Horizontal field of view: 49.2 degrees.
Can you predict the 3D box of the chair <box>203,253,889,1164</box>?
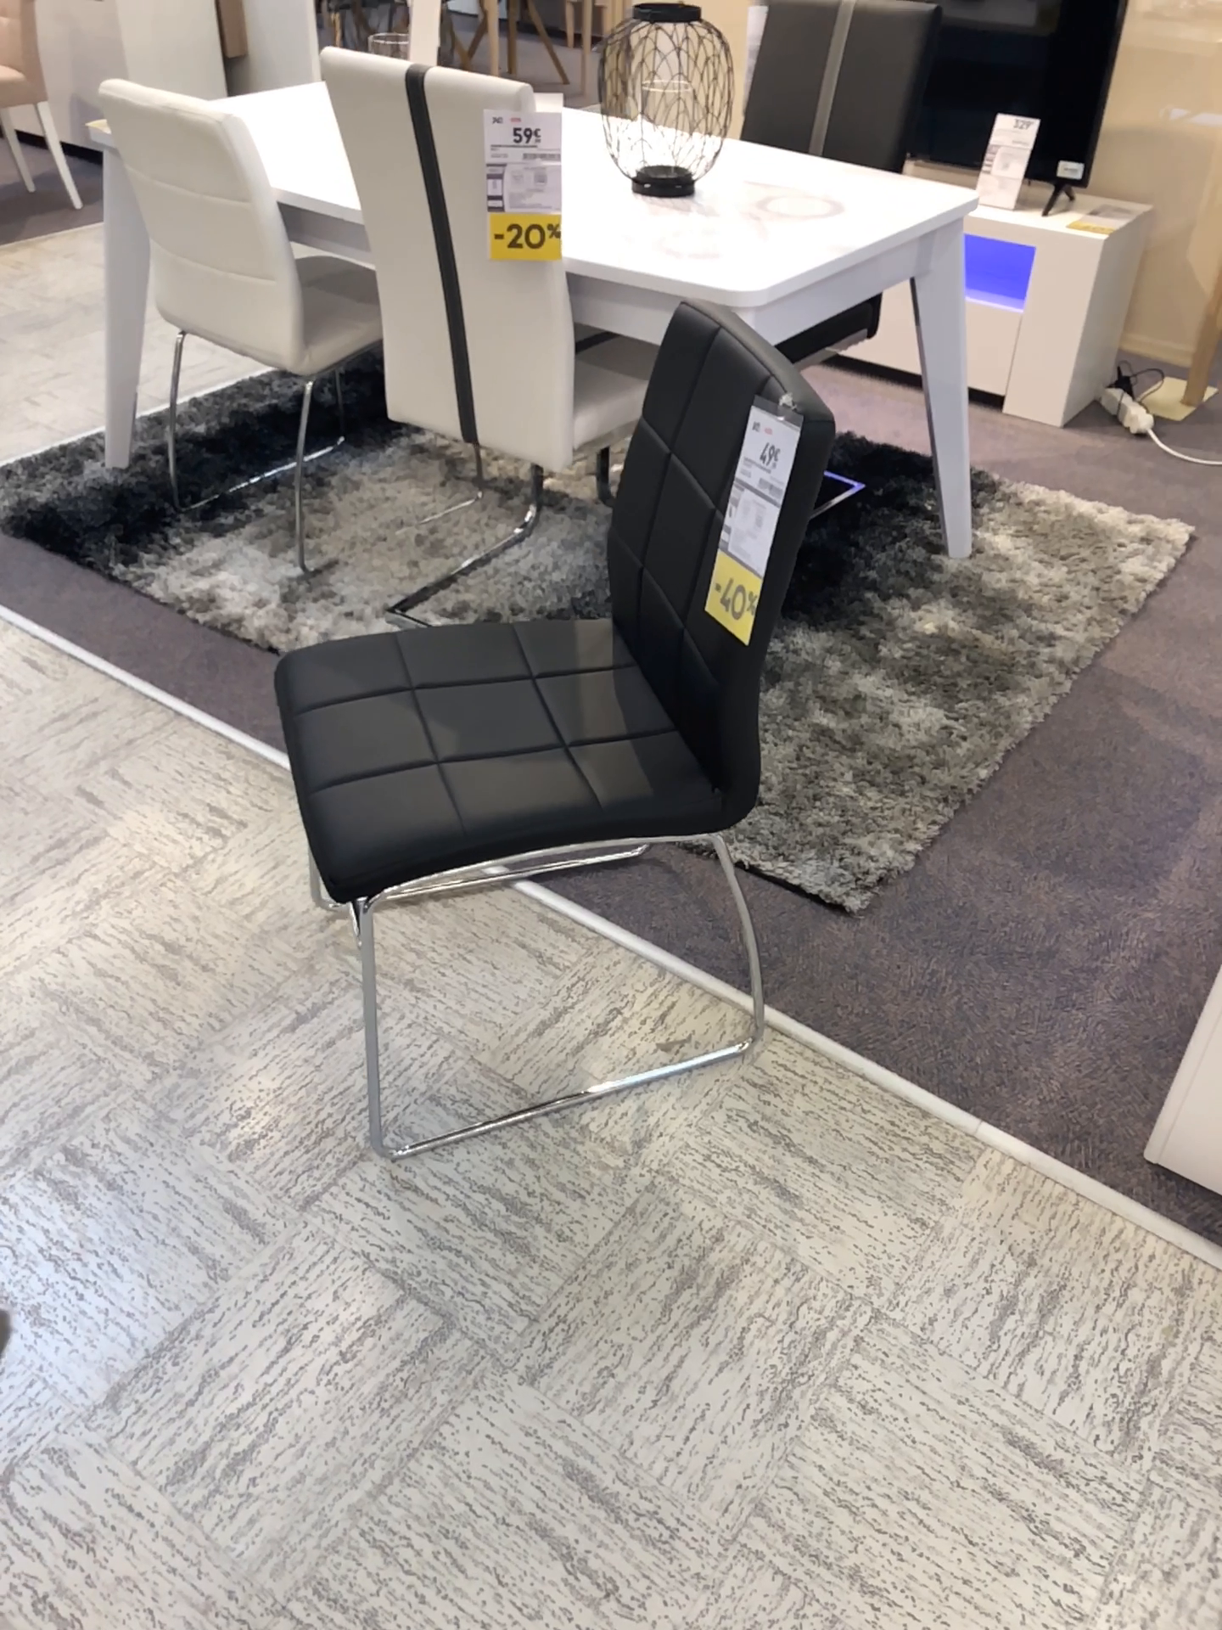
[{"bbox_3d":[-0.103,-0.132,1.551,0.537,0.825,0.522,-11,39,-17],"label":"chair"}]
